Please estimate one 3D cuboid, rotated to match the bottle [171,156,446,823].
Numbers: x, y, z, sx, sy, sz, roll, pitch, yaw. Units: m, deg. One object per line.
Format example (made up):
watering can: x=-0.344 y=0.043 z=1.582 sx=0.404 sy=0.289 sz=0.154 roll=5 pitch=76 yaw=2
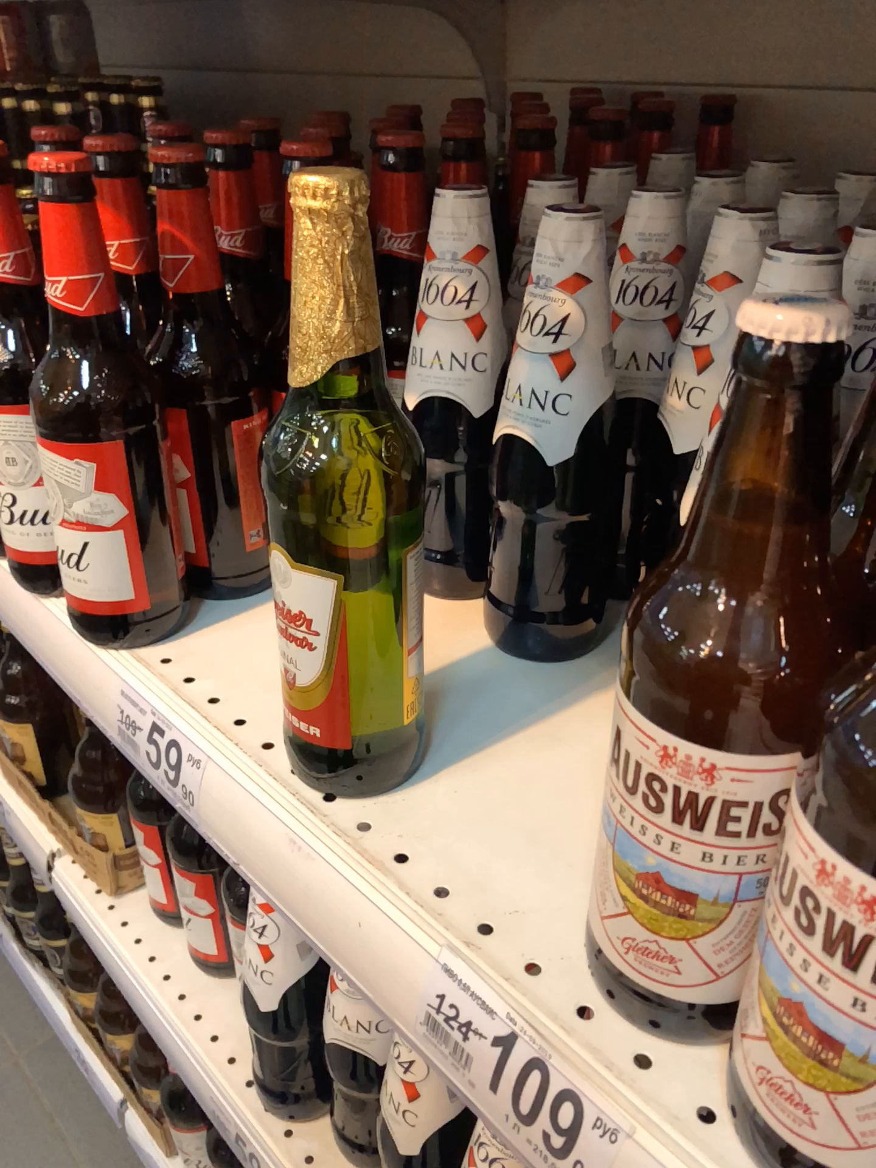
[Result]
bottle: x=-0.048 y=-0.034 z=0.400 sx=0.070 sy=0.254 sz=0.080 roll=-14 pitch=32 yaw=-22
